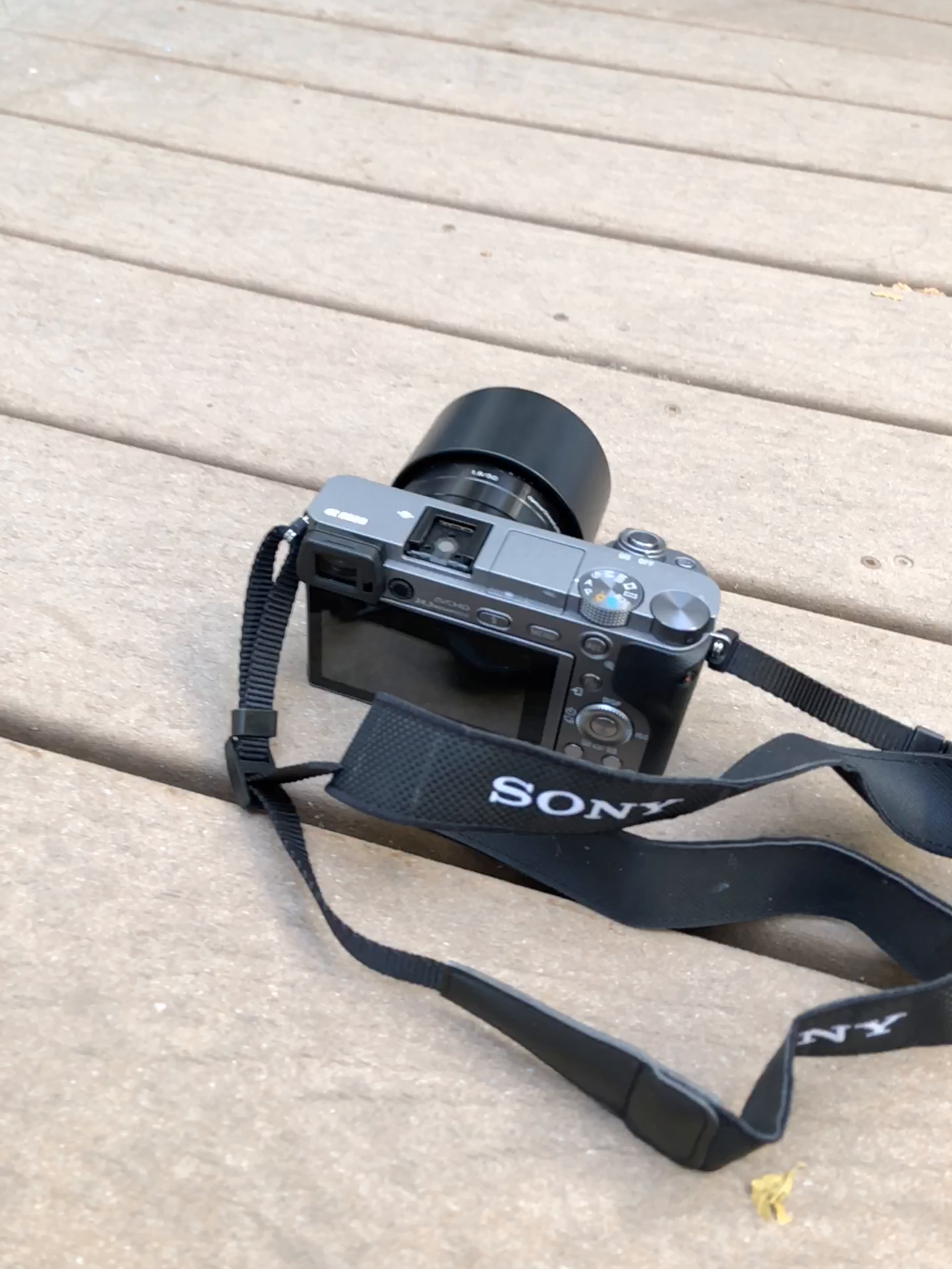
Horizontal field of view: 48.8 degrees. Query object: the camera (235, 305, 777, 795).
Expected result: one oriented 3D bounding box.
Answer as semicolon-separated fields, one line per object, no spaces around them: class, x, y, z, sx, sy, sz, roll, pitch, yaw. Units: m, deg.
camera;0.013;-0.032;0.325;0.130;0.070;0.111;15;45;10
